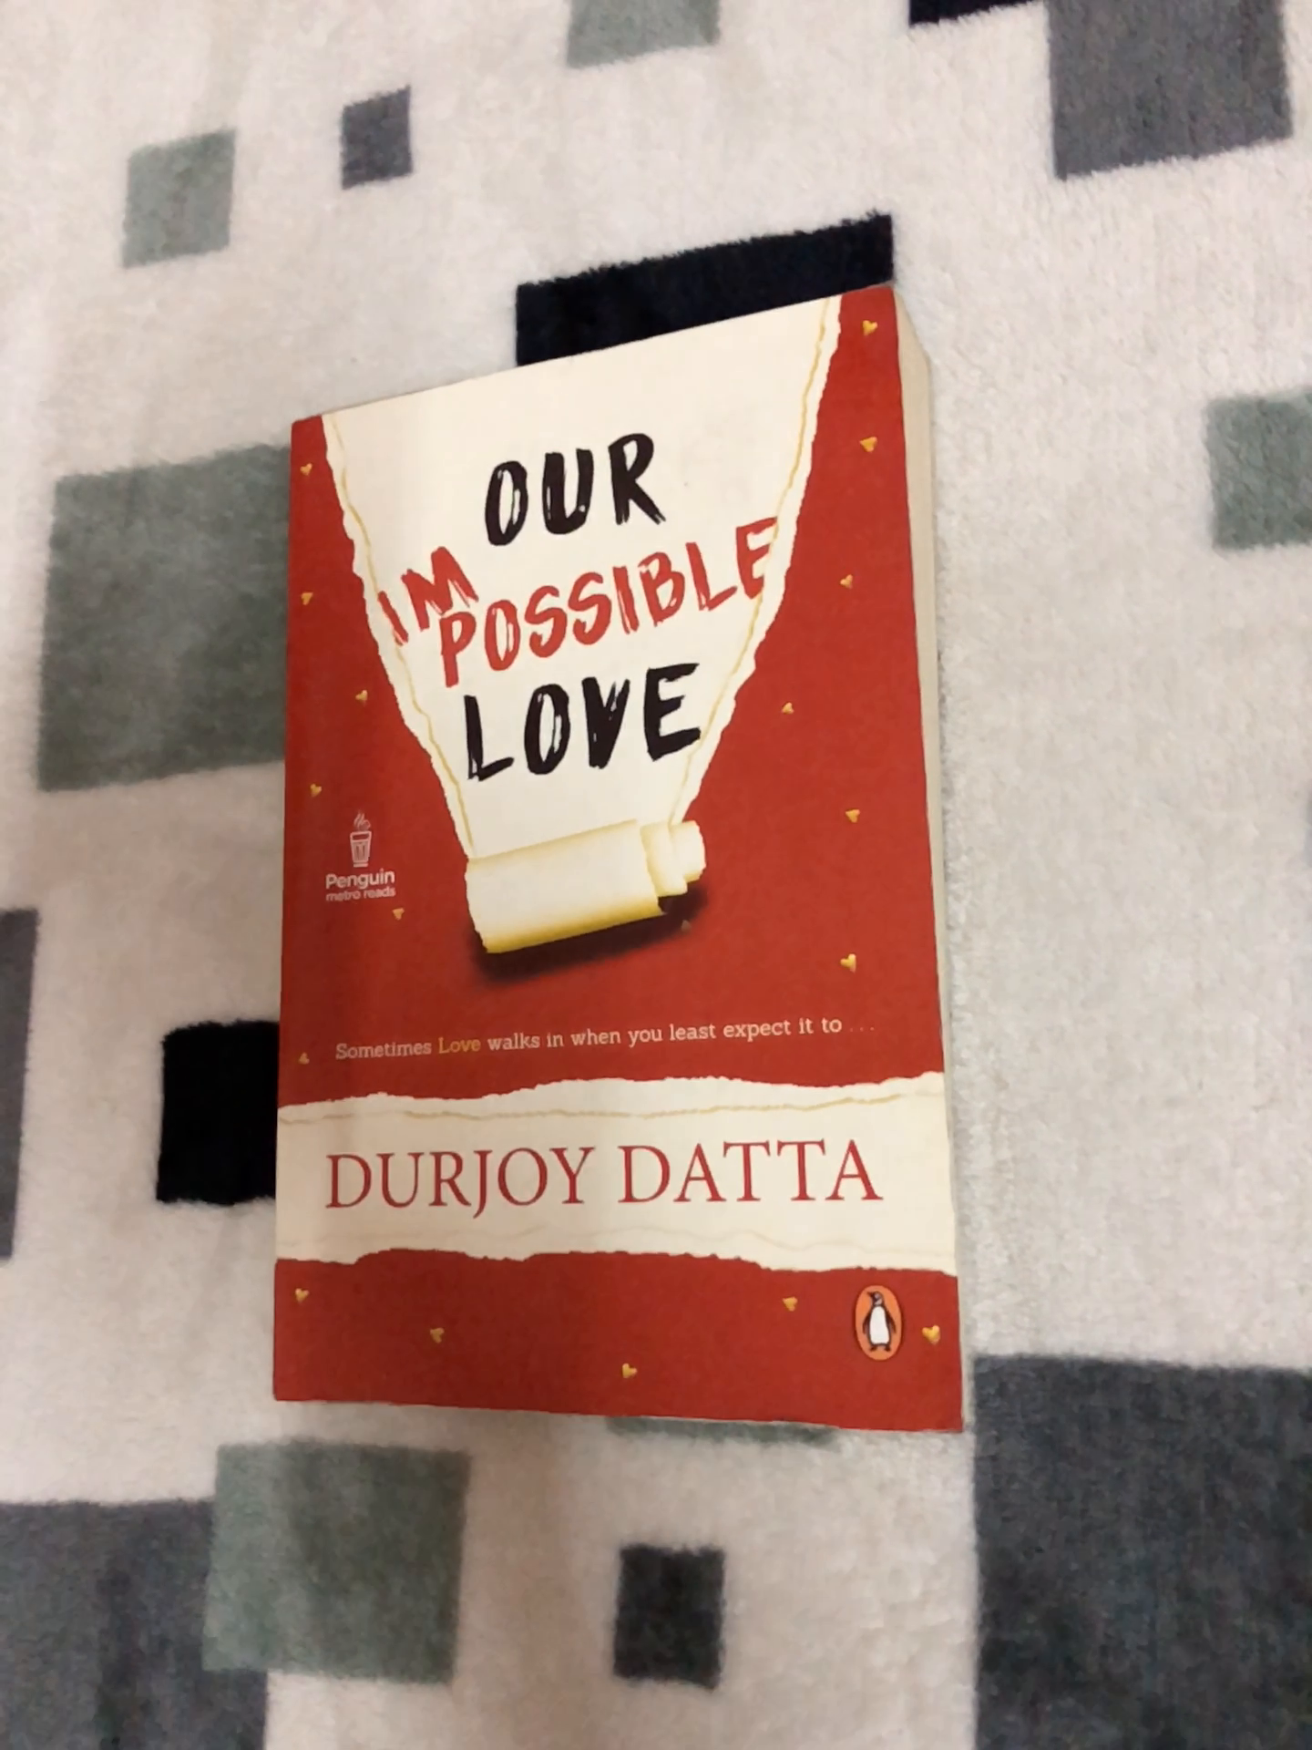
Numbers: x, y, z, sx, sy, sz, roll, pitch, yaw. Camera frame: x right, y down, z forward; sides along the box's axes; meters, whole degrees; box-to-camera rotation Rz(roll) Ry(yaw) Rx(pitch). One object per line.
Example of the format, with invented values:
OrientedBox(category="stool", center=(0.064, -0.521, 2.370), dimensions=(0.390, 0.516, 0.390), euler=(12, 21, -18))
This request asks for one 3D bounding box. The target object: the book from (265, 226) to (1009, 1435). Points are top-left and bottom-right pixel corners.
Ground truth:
OrientedBox(category="book", center=(-0.009, -0.006, 0.273), dimensions=(0.130, 0.030, 0.200), euler=(-5, 82, 19))
